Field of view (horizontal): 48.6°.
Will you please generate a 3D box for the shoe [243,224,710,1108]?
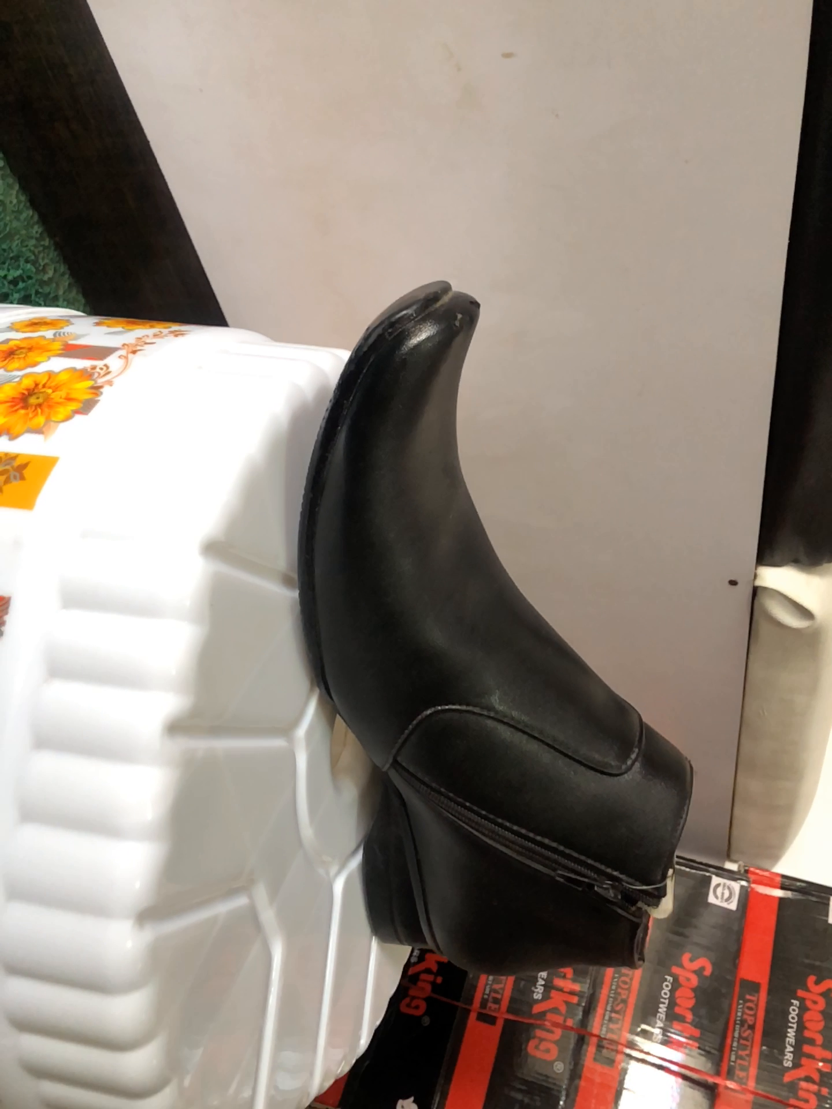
[{"bbox_3d":[0.041,0.046,0.355,0.120,0.119,0.311,-52,141,-59],"label":"shoe"}]
